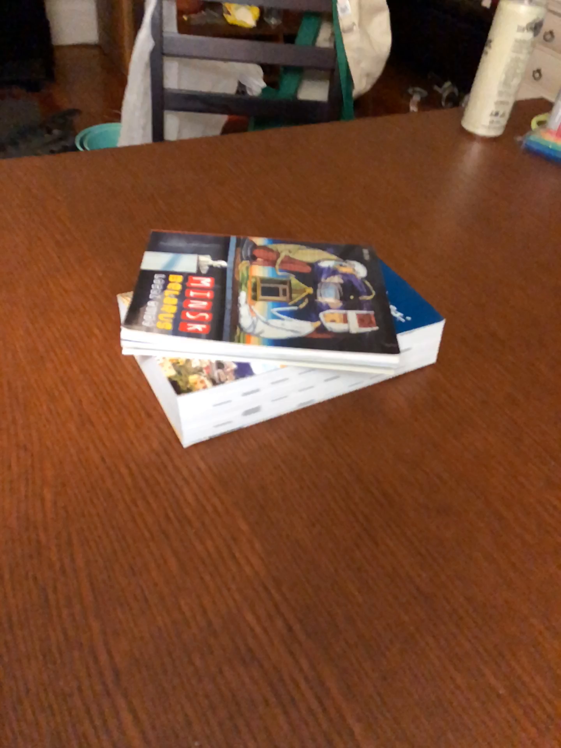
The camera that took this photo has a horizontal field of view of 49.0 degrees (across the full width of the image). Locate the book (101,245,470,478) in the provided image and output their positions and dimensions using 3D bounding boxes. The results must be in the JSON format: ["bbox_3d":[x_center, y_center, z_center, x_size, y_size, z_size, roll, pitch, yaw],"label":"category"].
[{"bbox_3d":[0.003,-0.022,0.437,0.220,0.040,0.131,-16,48,-24],"label":"book"}]

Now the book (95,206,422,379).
[{"bbox_3d":[-0.014,-0.061,0.419,0.190,0.020,0.151,3,43,-5],"label":"book"}]
